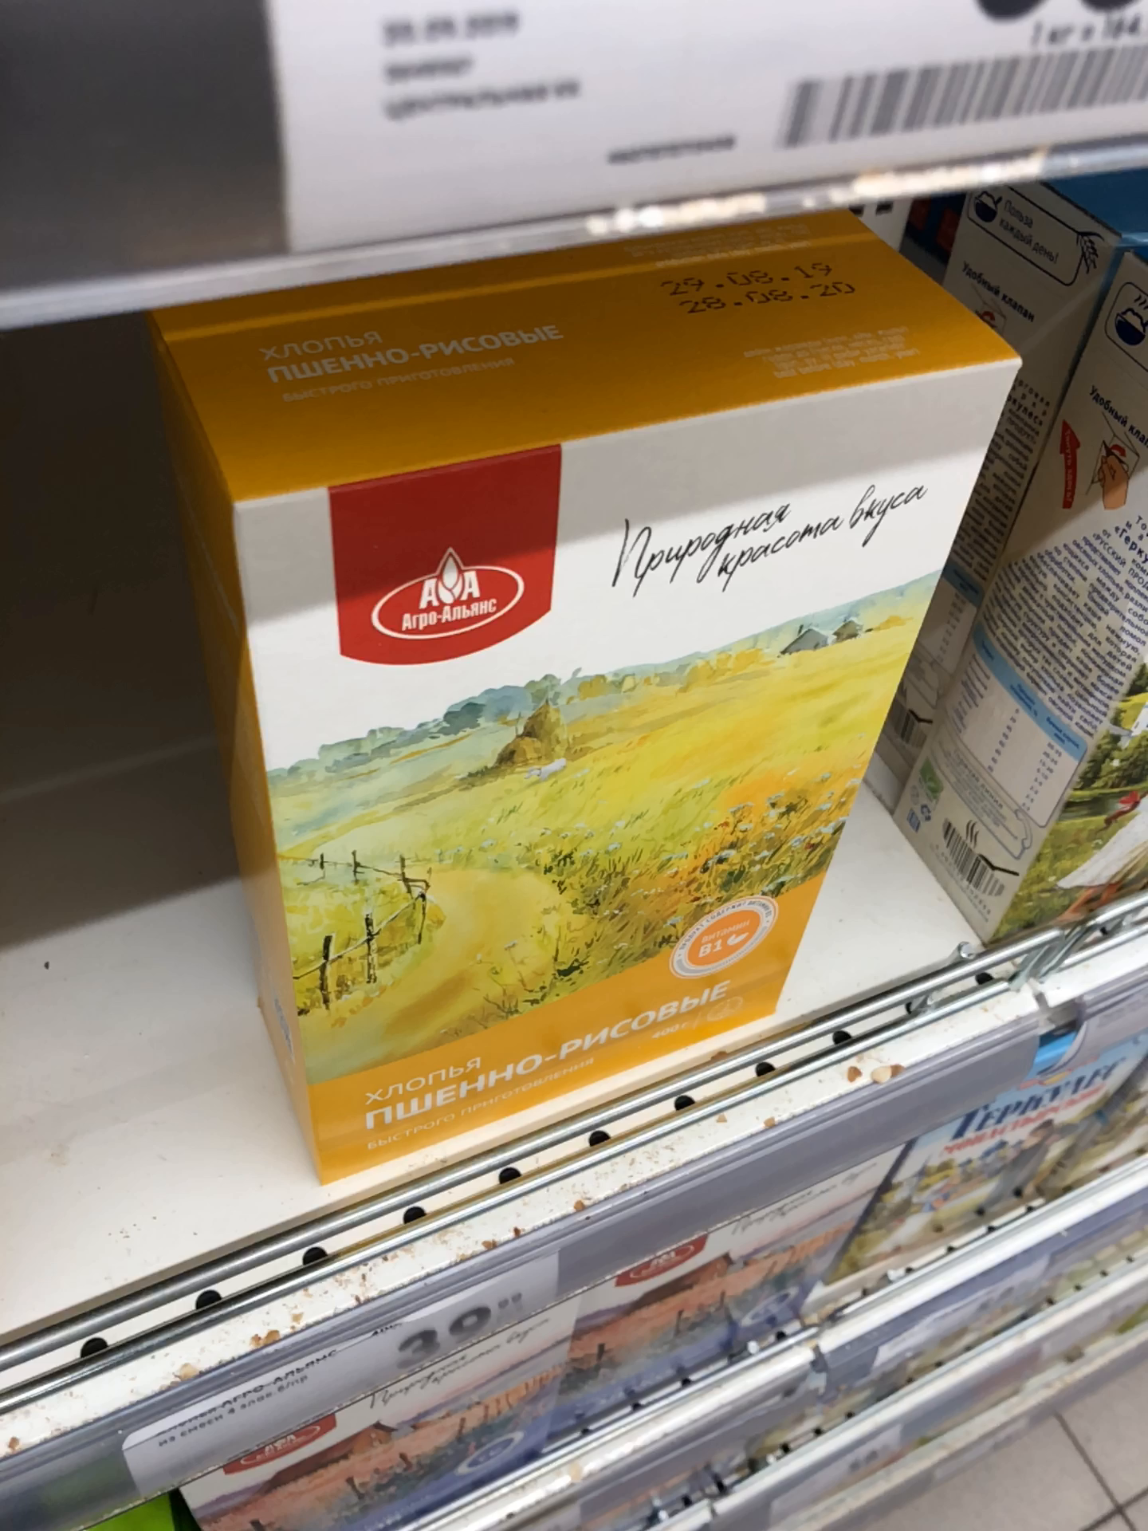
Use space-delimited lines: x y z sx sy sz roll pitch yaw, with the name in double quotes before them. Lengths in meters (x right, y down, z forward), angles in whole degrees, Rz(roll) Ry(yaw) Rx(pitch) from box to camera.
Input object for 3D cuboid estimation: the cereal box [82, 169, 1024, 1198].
"cereal box" -0.009 -0.004 0.267 0.130 0.199 0.060 -17 51 -20
